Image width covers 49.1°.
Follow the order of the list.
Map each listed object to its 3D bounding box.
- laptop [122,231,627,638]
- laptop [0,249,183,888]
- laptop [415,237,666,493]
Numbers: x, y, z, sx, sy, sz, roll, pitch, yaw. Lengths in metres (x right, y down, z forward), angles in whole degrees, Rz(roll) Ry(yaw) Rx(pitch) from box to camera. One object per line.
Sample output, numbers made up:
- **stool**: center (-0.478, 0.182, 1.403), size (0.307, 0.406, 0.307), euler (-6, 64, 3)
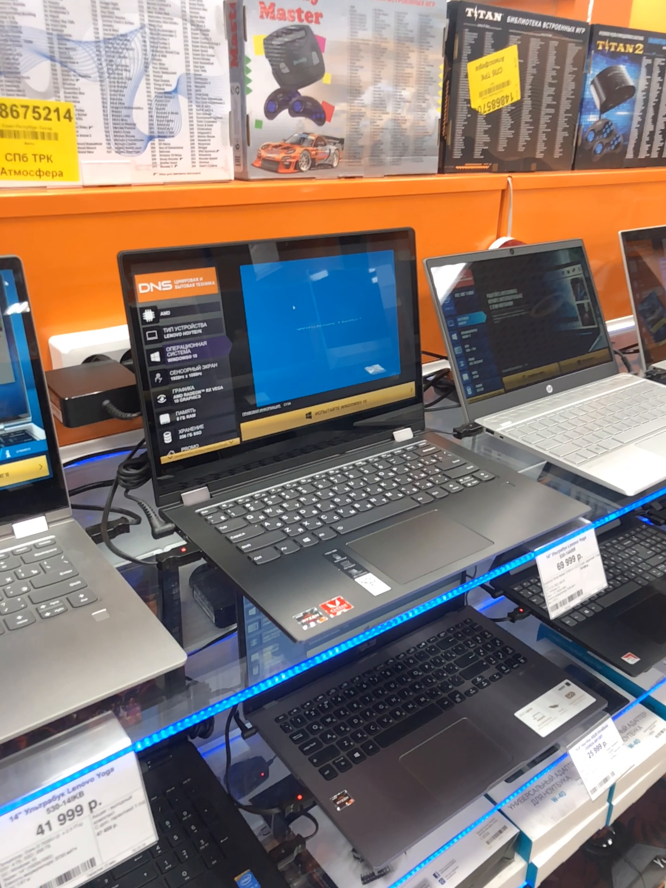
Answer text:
- **laptop**: center (0.030, -0.047, 0.630), size (0.320, 0.215, 0.256), euler (-16, 29, -35)
- **laptop**: center (-0.296, 0.020, 0.430), size (0.284, 0.202, 0.286), euler (-15, 32, -39)
- **laptop**: center (0.320, -0.124, 0.874), size (0.316, 0.161, 0.310), euler (-17, 32, -34)
